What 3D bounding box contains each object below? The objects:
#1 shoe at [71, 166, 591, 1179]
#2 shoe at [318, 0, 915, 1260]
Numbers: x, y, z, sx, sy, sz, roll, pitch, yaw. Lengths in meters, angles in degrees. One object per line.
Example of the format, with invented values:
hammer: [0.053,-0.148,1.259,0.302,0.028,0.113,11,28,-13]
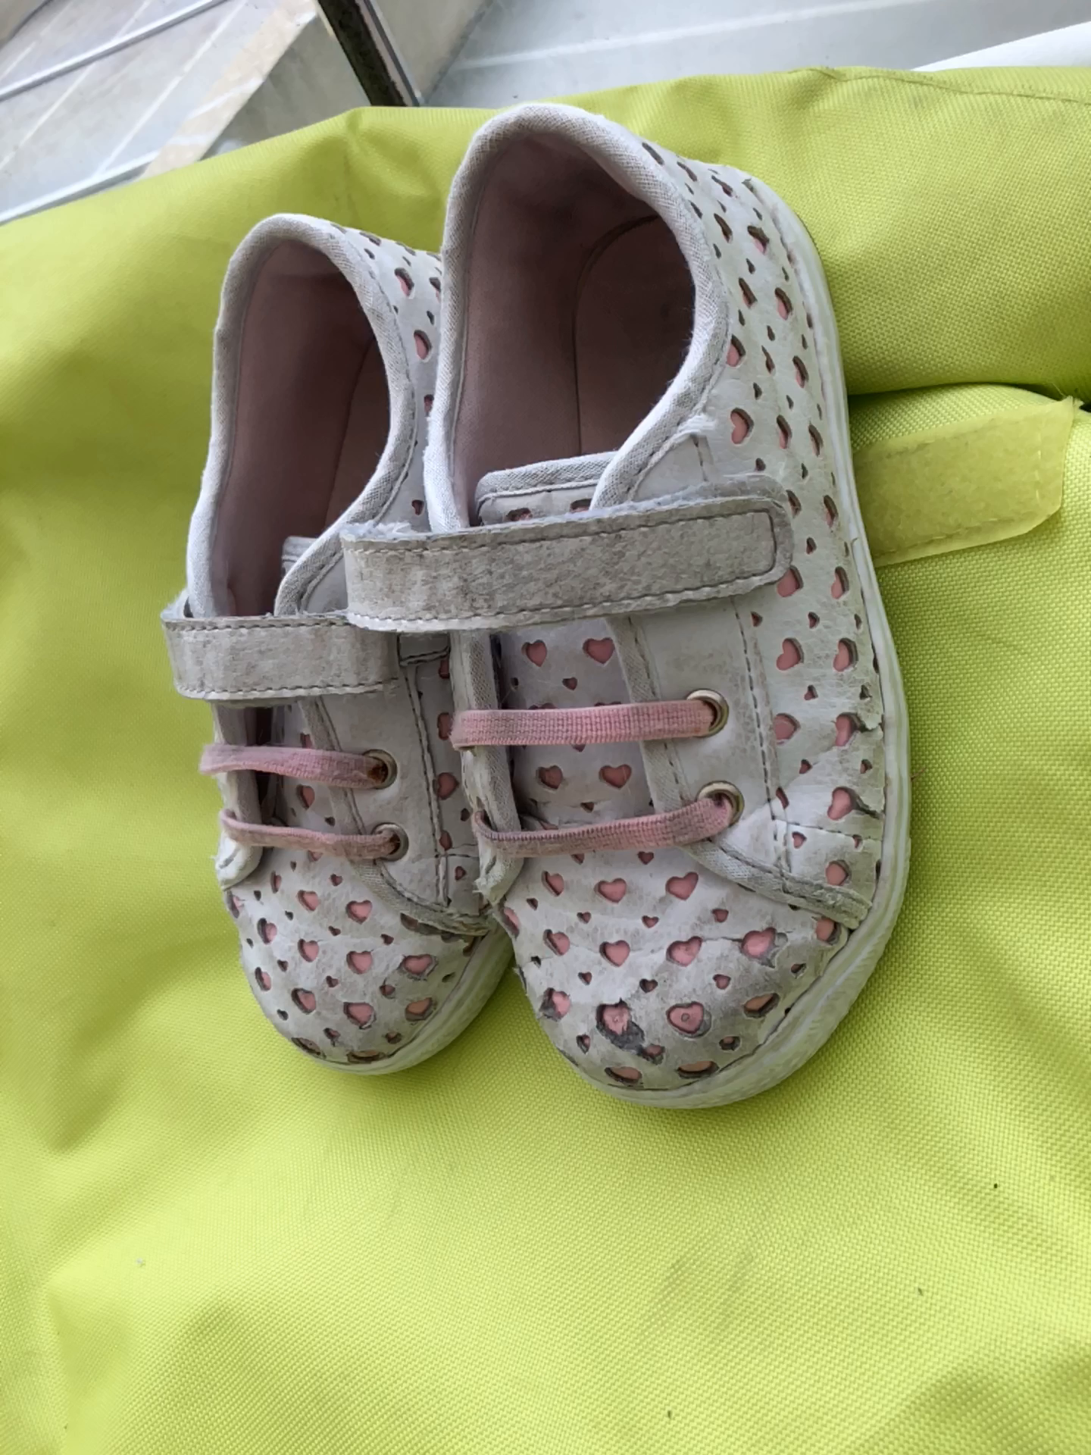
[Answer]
shoe: [-0.046,-0.012,0.257,0.081,0.060,0.175,7,95,33]
shoe: [0.013,-0.018,0.204,0.081,0.060,0.176,-2,86,27]
